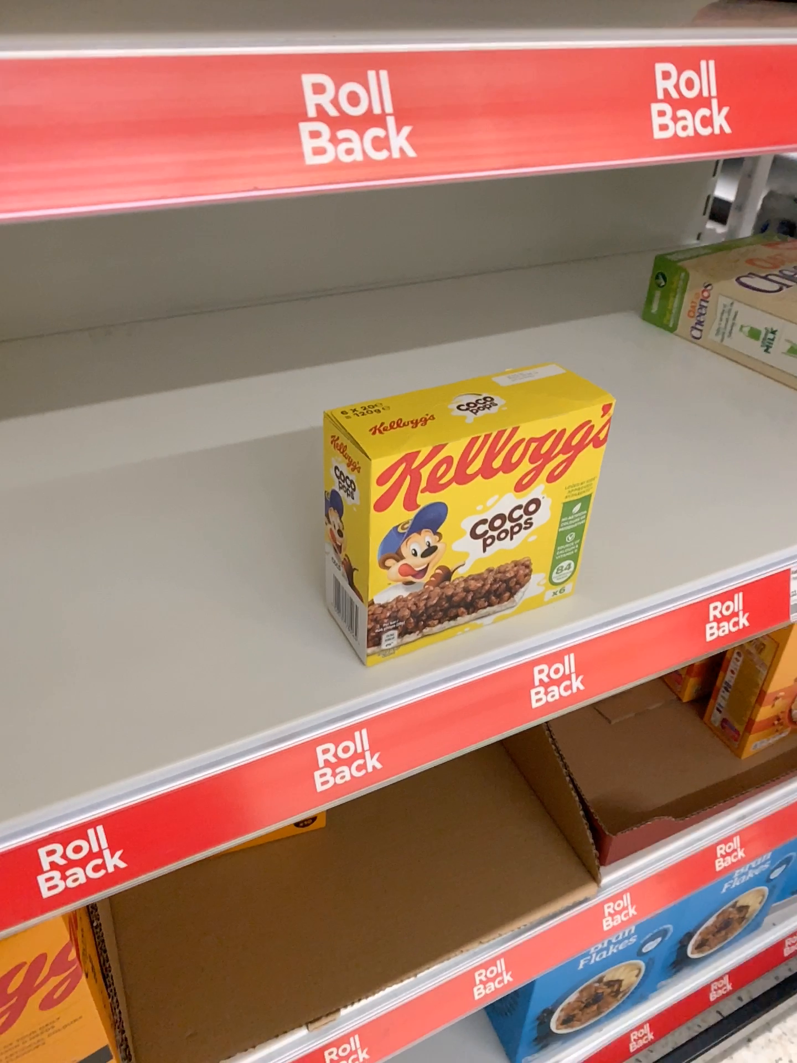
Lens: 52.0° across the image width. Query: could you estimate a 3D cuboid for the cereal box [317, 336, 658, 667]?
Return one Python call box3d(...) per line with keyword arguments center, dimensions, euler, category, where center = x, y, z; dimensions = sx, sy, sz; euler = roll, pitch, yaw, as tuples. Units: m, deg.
box3d(center=(0.041, -0.019, 0.413), dimensions=(0.150, 0.119, 0.060), euler=(-17, 40, -25), category="cereal box")
